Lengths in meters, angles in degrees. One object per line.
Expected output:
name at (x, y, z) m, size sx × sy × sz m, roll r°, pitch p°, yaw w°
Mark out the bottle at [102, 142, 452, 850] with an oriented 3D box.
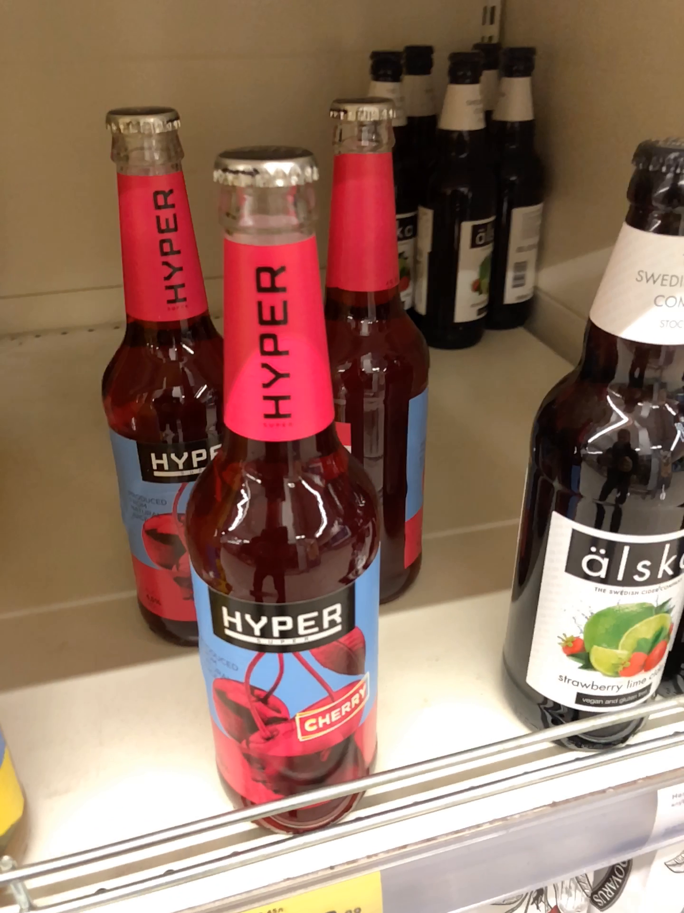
bottle at (-0.016, 0.027, 0.264) m, size 0.080 × 0.243 × 0.070 m, roll -3°, pitch 30°, yaw -4°
